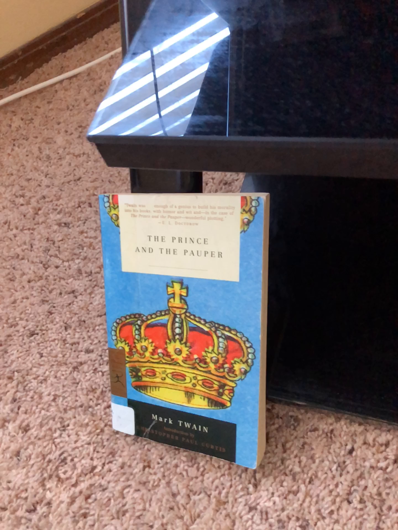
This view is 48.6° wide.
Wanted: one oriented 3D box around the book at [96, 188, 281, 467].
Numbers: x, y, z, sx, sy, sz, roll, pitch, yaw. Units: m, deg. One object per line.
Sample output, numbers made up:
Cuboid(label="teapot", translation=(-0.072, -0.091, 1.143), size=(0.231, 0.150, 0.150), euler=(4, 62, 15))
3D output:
Cuboid(label="book", translation=(-0.012, 0.042, 0.335), size=(0.130, 0.030, 0.193), euler=(6, 102, 19))
